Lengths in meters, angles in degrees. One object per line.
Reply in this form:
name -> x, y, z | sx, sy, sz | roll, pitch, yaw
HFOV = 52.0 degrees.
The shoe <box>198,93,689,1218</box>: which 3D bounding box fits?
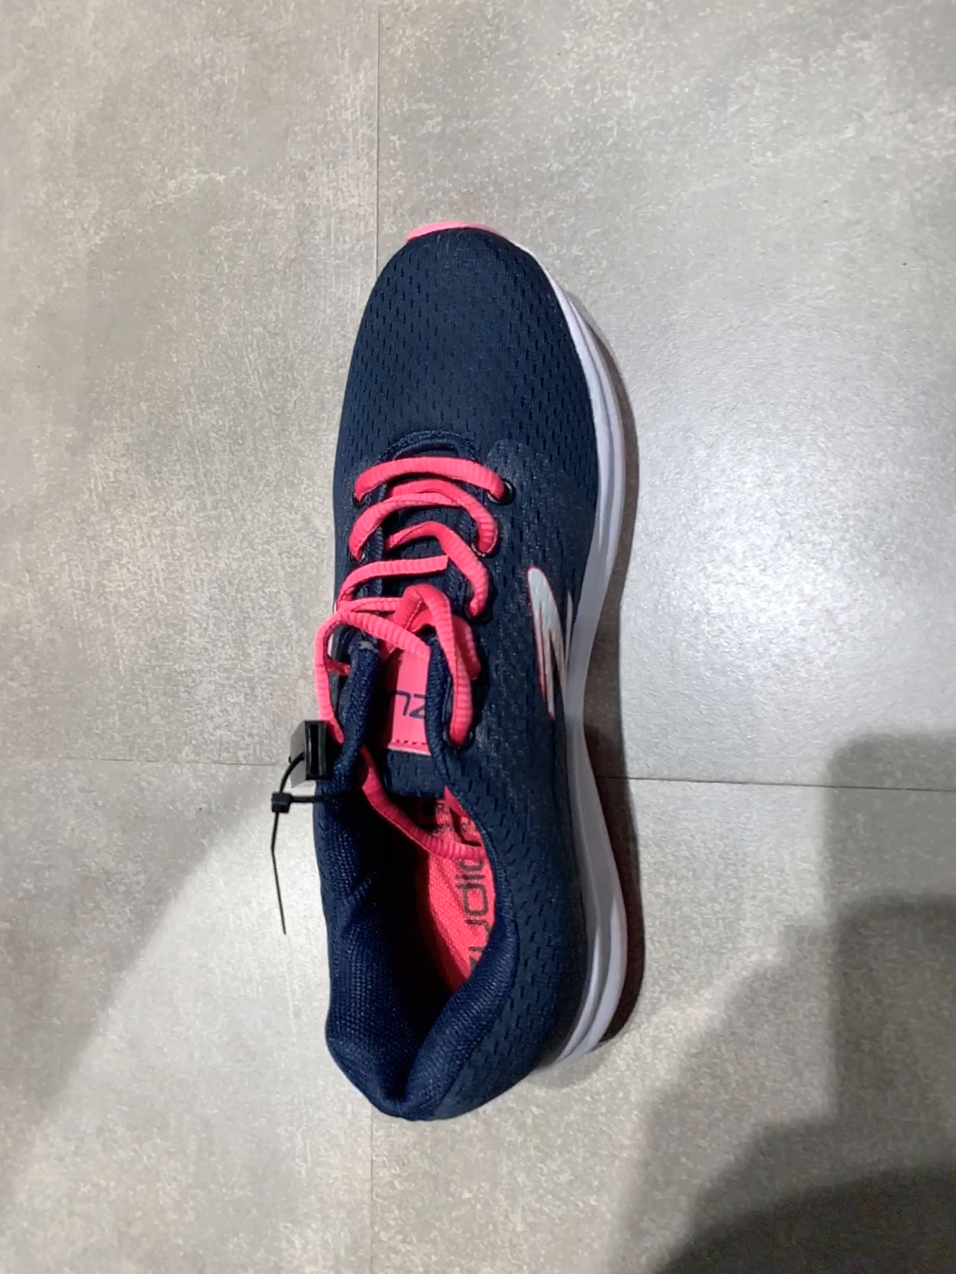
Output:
shoe -> -0.006, 0.005, 0.274 | 0.095, 0.090, 0.248 | -5, 85, 22
